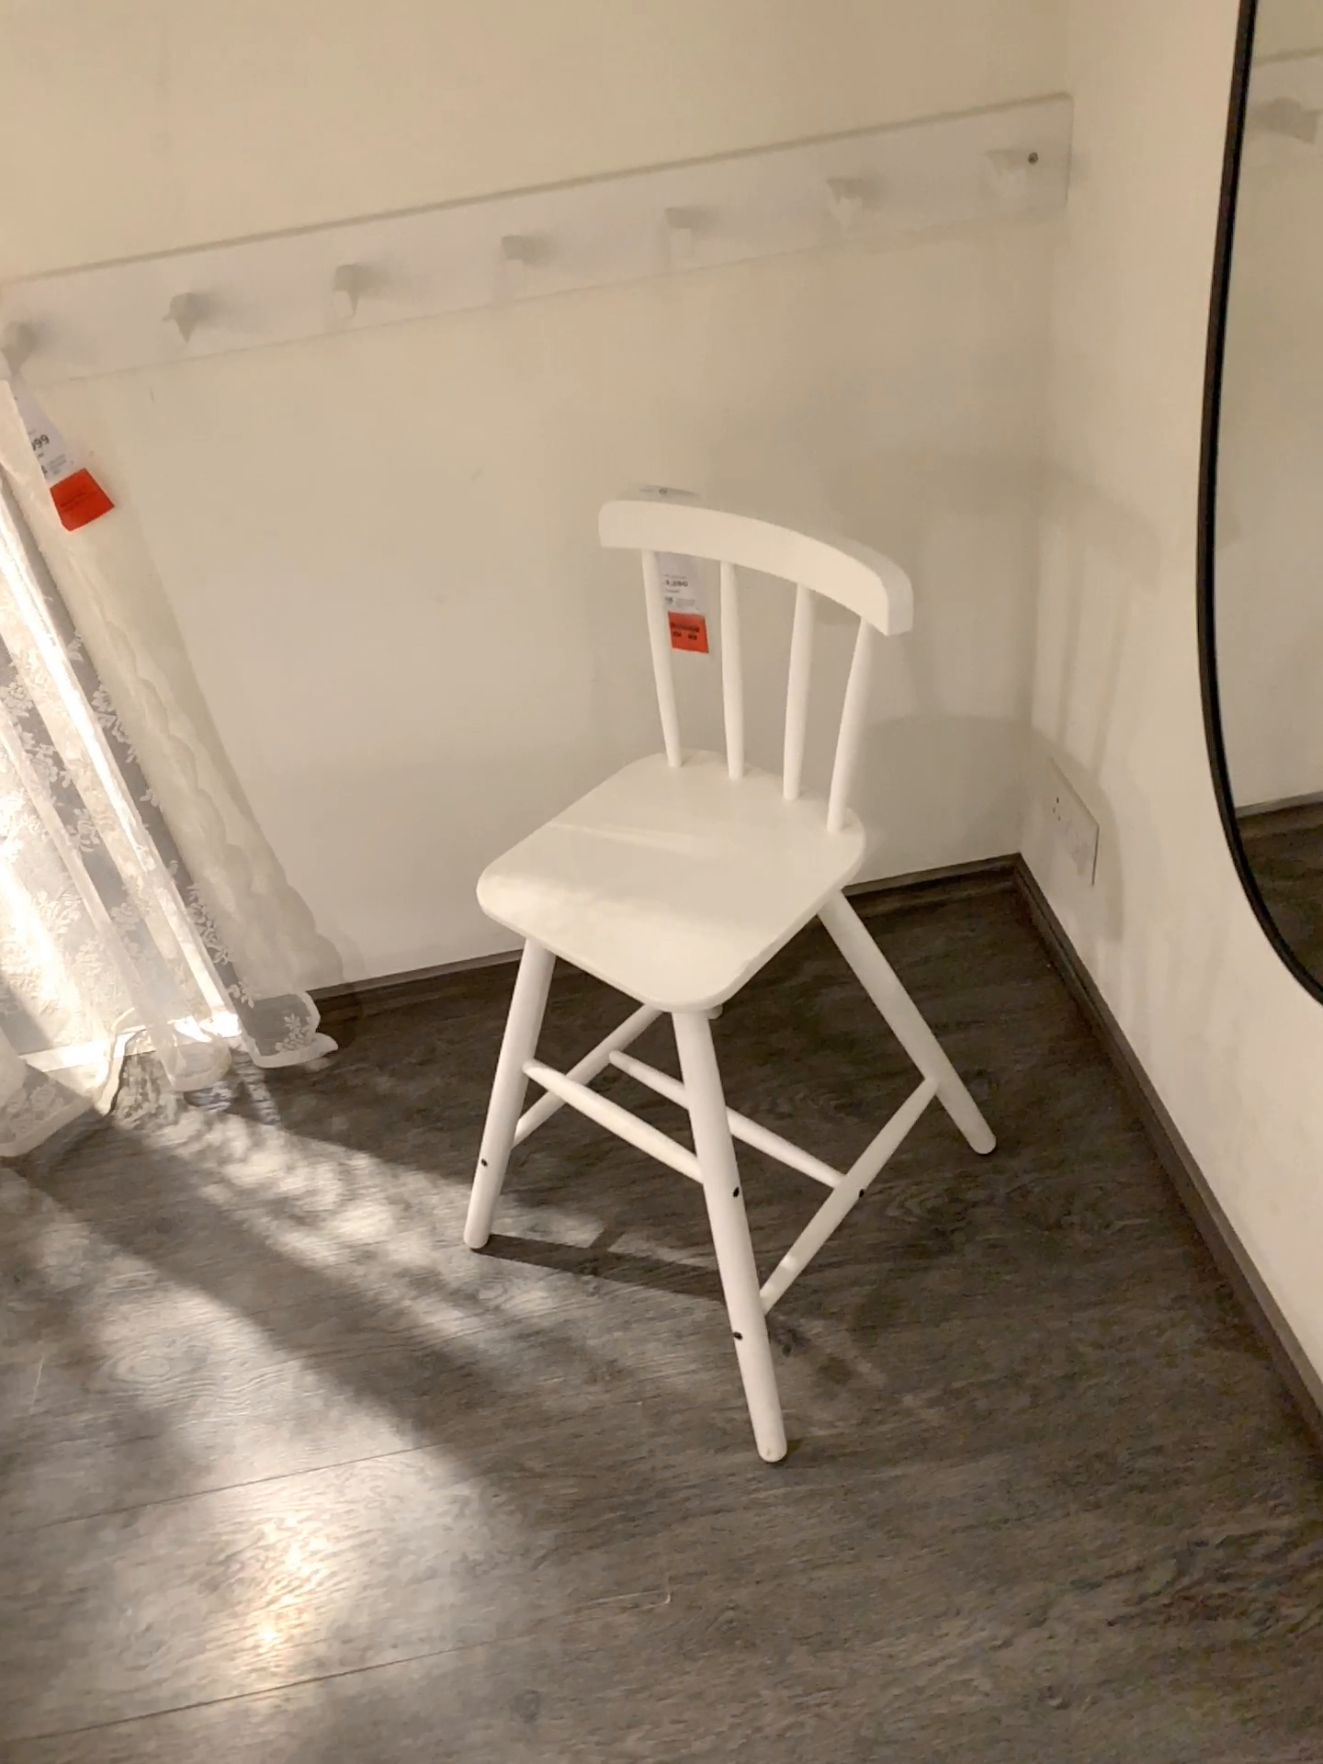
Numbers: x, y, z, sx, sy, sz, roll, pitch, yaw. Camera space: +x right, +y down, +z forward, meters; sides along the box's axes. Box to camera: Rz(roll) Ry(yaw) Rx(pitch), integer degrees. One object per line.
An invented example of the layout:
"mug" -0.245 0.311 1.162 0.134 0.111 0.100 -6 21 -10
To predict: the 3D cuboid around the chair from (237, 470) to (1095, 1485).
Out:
"chair" 0.047 0.072 1.225 0.451 0.657 0.481 23 50 33
